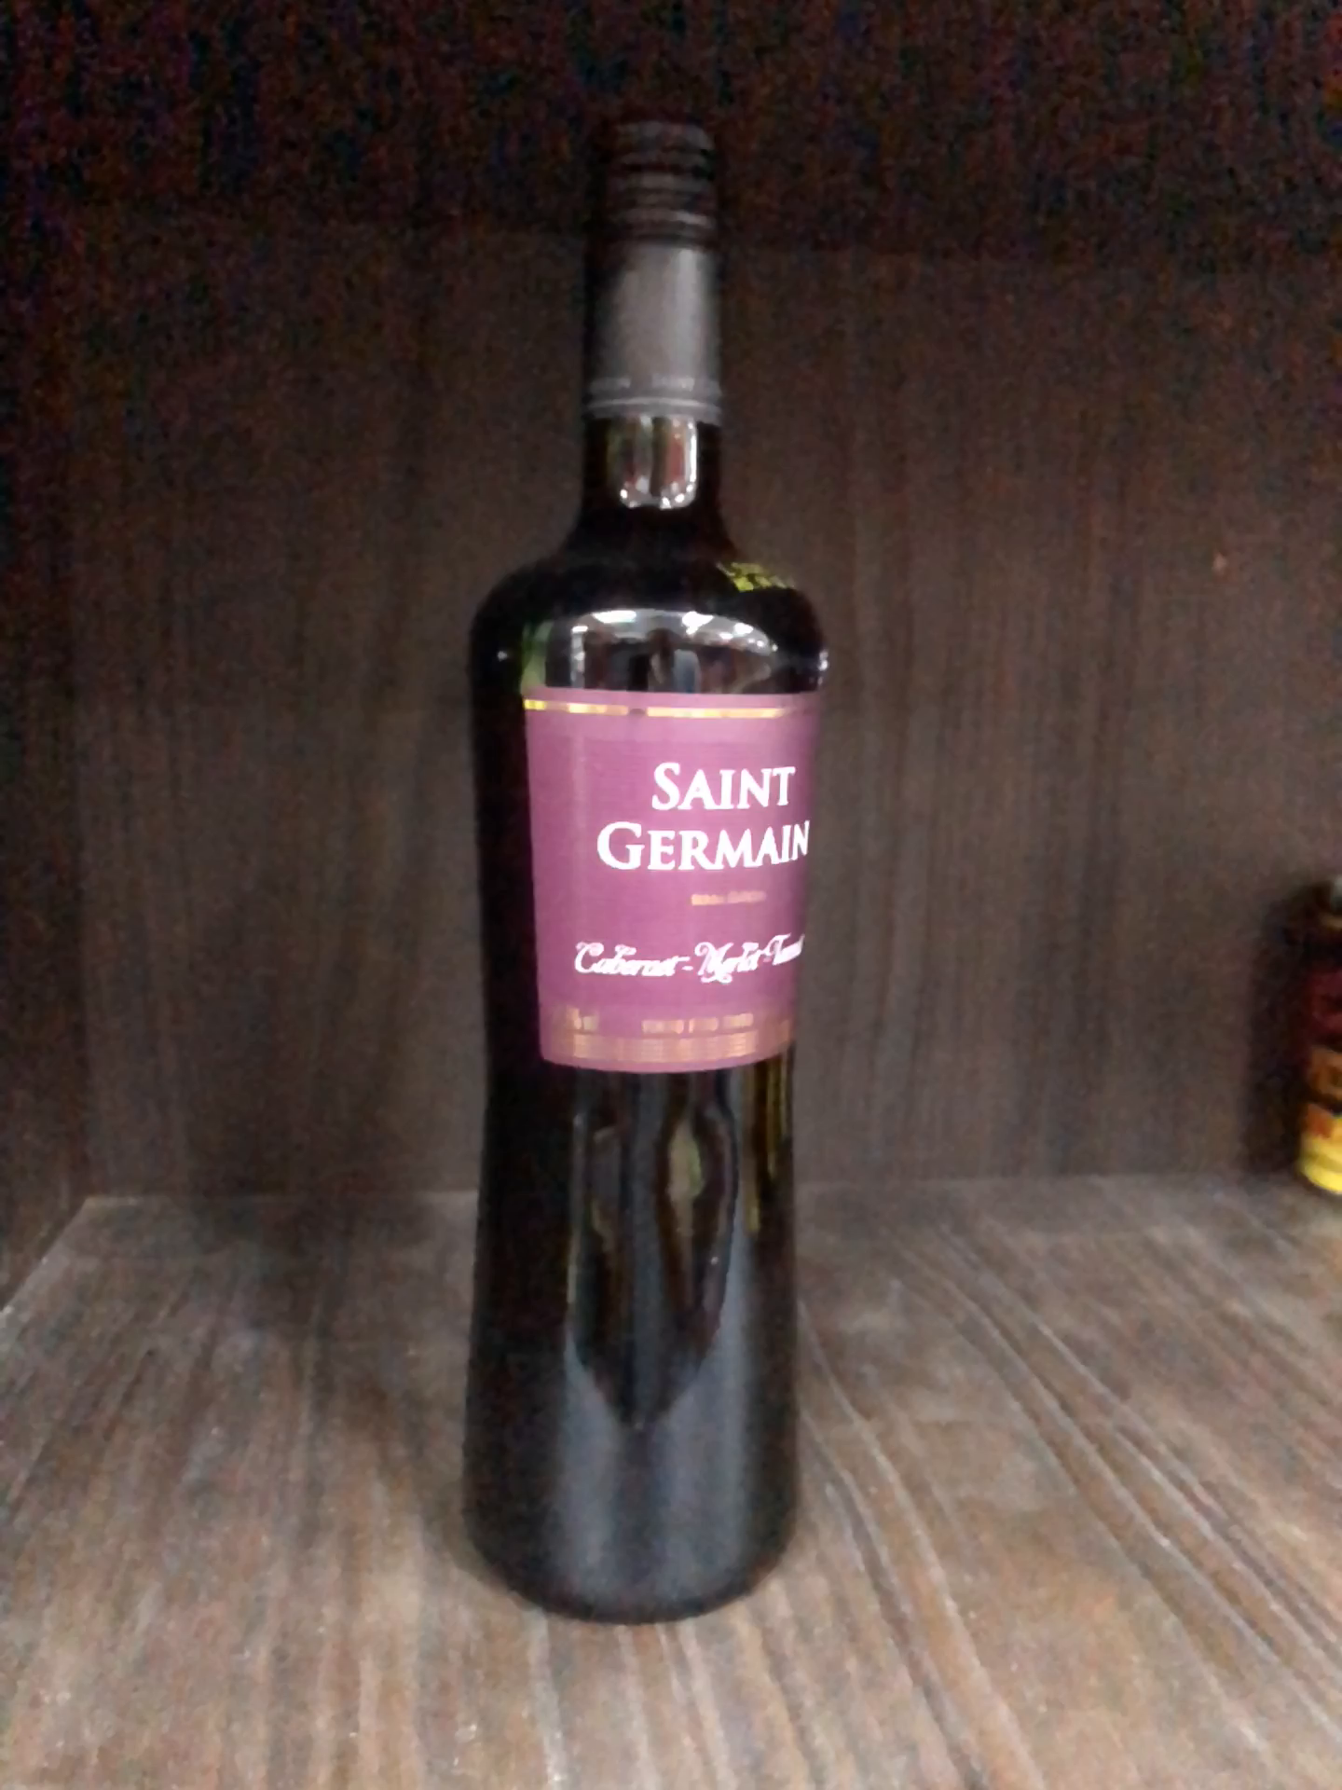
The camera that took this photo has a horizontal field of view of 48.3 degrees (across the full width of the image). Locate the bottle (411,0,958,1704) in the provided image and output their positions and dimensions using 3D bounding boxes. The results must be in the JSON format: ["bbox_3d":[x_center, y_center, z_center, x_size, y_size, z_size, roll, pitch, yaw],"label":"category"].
[{"bbox_3d":[-0.001,-0.009,0.313,0.080,0.309,0.070,-4,9,-37],"label":"bottle"}]
